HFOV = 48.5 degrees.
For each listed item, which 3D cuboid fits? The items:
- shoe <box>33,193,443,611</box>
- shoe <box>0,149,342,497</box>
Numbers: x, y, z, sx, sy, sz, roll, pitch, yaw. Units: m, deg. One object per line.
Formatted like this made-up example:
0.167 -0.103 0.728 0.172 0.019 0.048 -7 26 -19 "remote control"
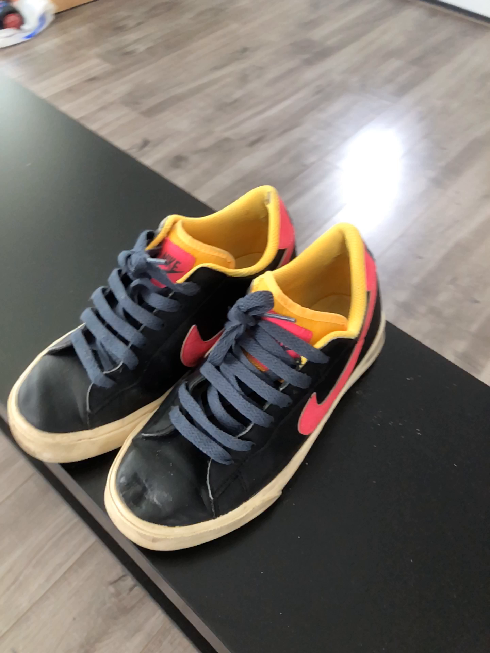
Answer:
0.012 0.031 0.340 0.090 0.100 0.244 33 56 25 "shoe"
-0.055 -0.016 0.378 0.244 0.100 0.095 -35 57 -27 "shoe"
